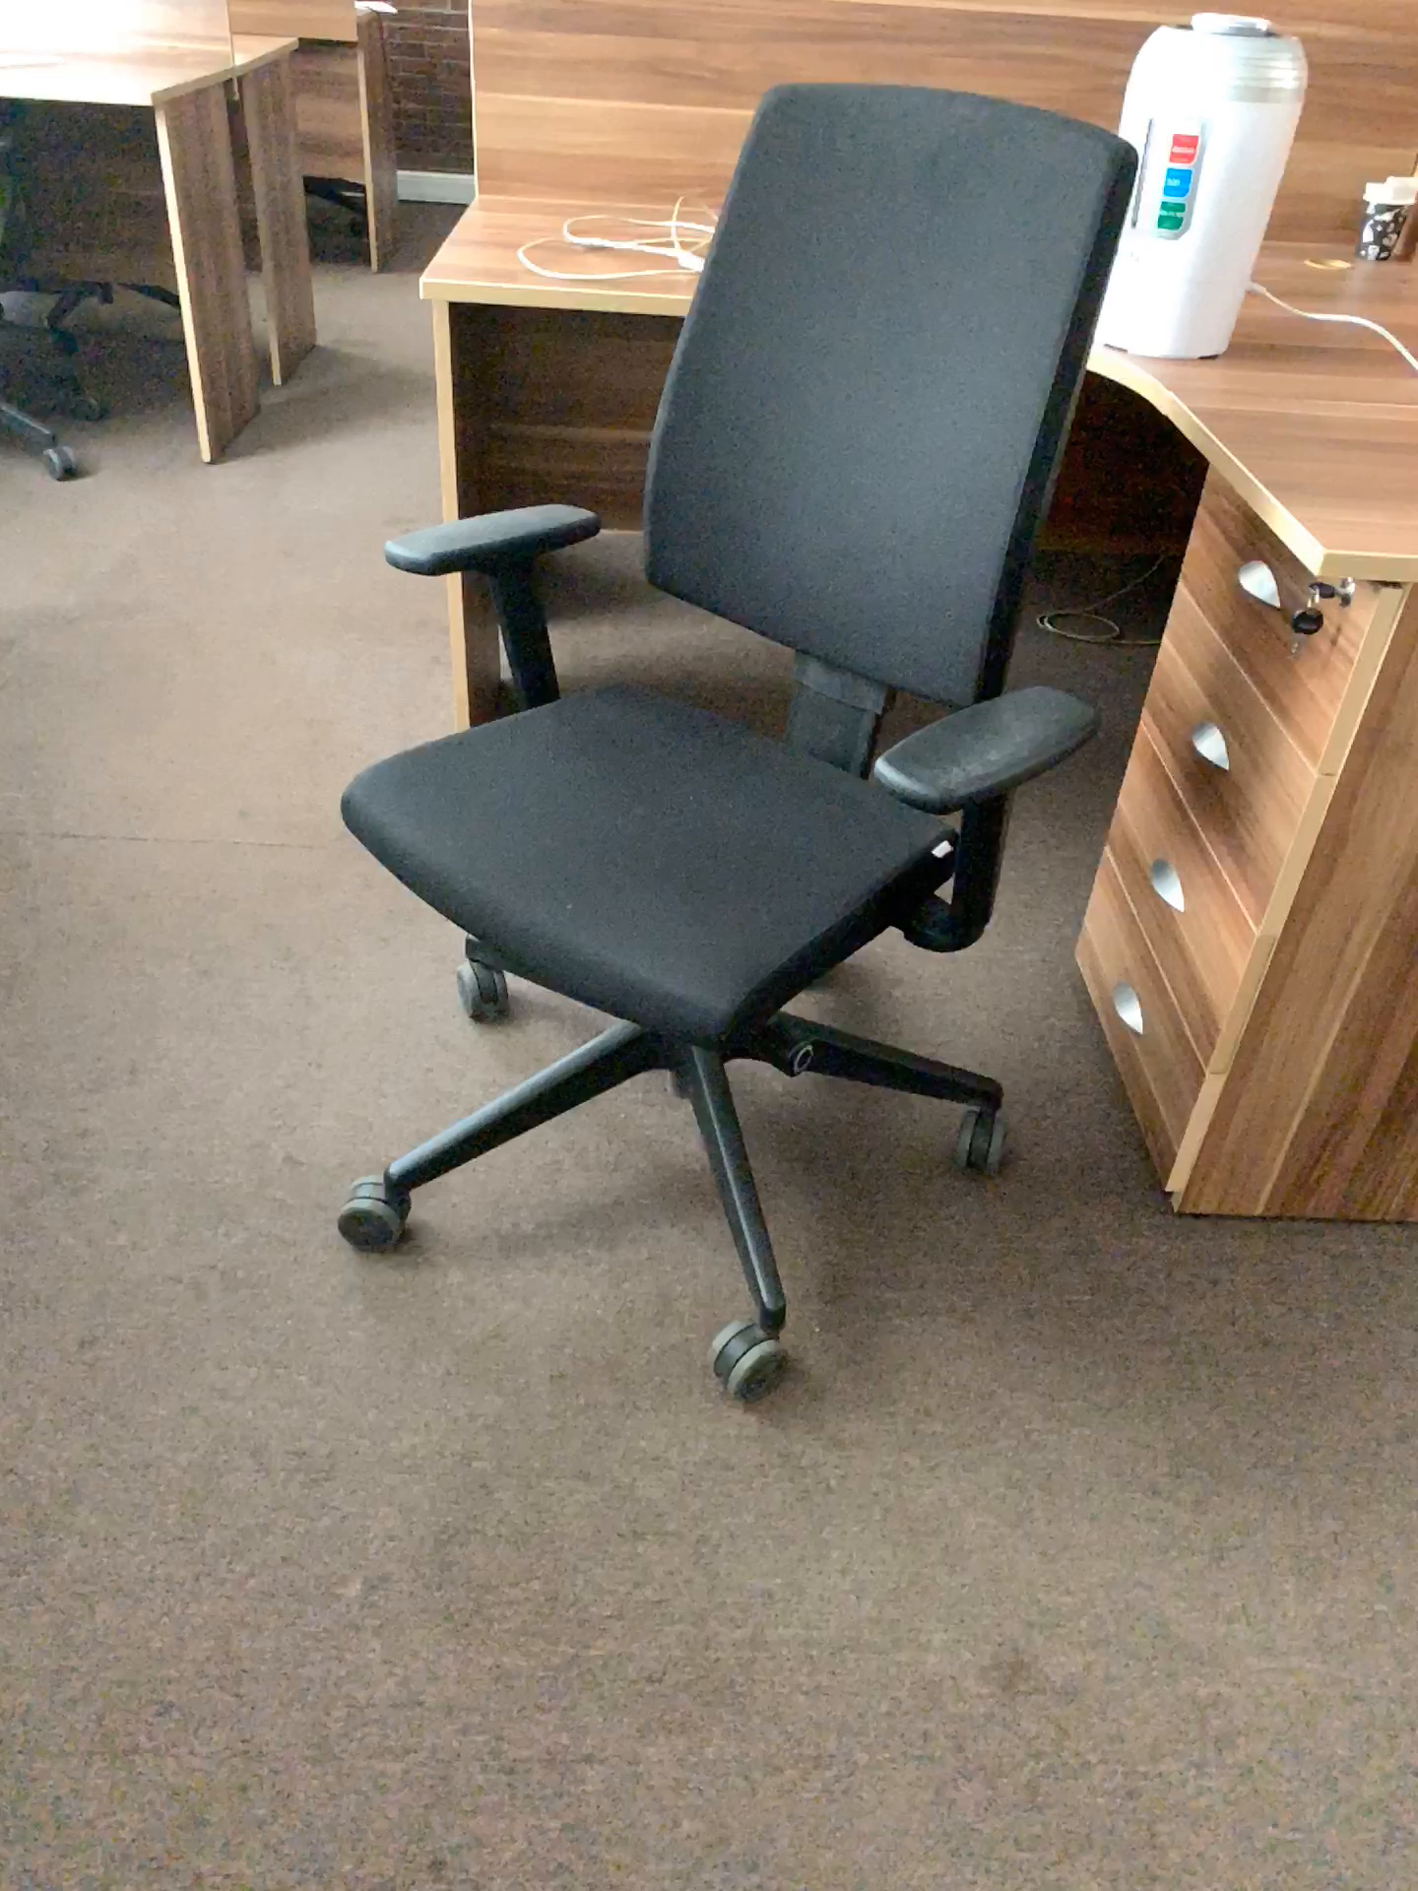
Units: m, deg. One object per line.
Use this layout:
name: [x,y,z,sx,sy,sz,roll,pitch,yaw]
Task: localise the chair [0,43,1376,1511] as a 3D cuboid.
chair: [-0.023,-0.229,1.293,0.671,0.915,0.792,29,42,30]
